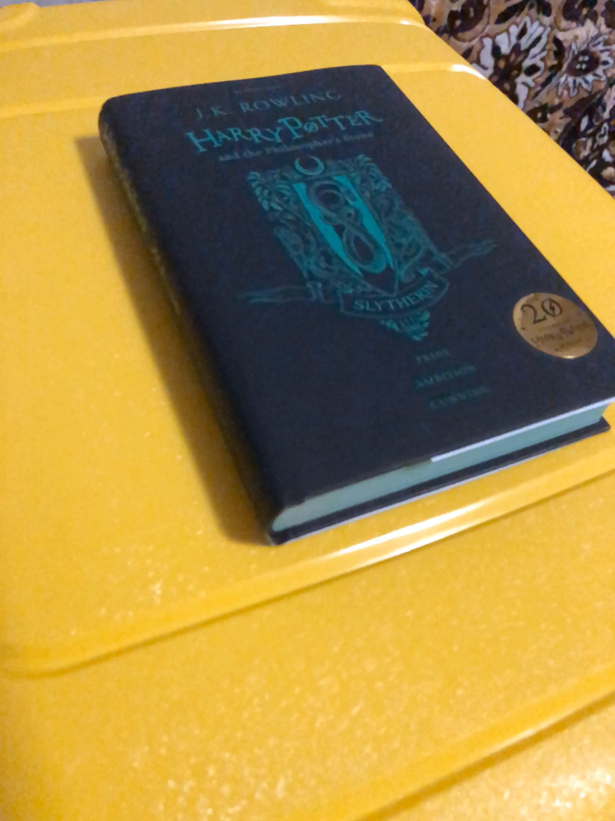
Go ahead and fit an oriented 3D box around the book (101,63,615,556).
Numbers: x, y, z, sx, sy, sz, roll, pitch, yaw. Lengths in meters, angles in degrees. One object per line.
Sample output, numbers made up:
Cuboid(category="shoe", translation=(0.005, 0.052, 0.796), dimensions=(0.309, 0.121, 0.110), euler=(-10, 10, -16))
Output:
Cuboid(category="book", translation=(0.015, -0.062, 0.263), dimensions=(0.137, 0.030, 0.205), euler=(-16, 57, -18))
